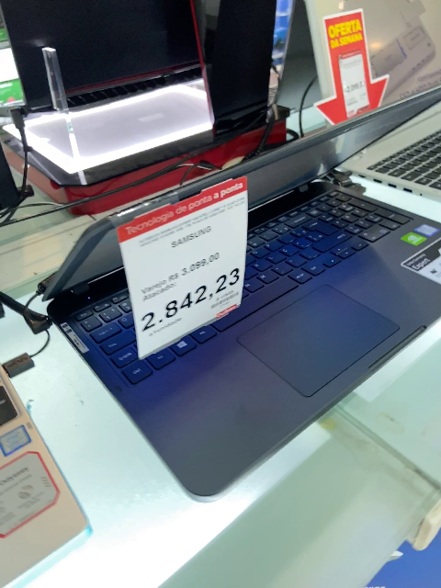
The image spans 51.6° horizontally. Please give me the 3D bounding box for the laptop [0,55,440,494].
[{"bbox_3d":[0.053,-0.074,0.376,0.366,0.146,0.231,-29,43,-28],"label":"laptop"}]

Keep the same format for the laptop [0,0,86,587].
[{"bbox_3d":[-0.329,0.028,0.201,0.369,0.240,0.332,-28,43,-27],"label":"laptop"}]
